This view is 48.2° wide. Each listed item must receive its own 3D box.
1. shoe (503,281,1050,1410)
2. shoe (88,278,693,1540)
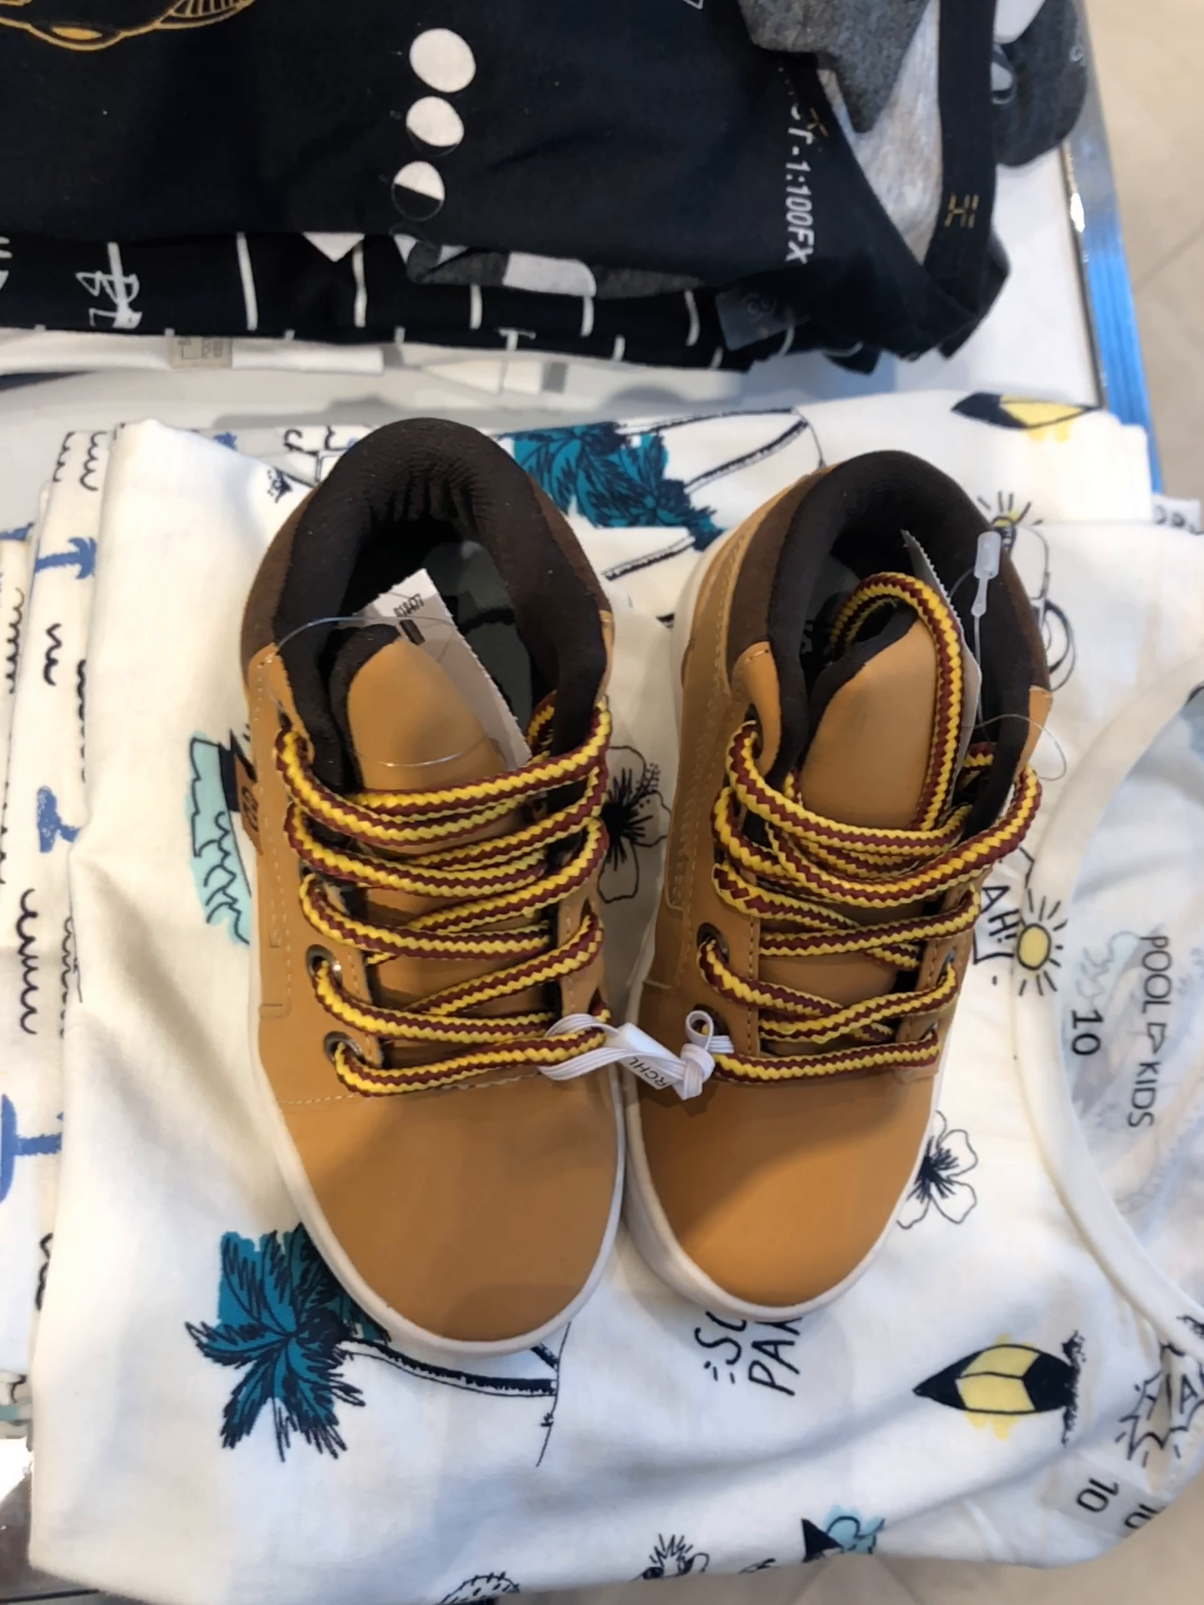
[{"bbox_3d":[0.028,0.010,0.251,0.070,0.090,0.170,5,80,-11],"label":"shoe"},{"bbox_3d":[-0.039,0.013,0.232,0.070,0.090,0.170,-4,84,-12],"label":"shoe"}]
